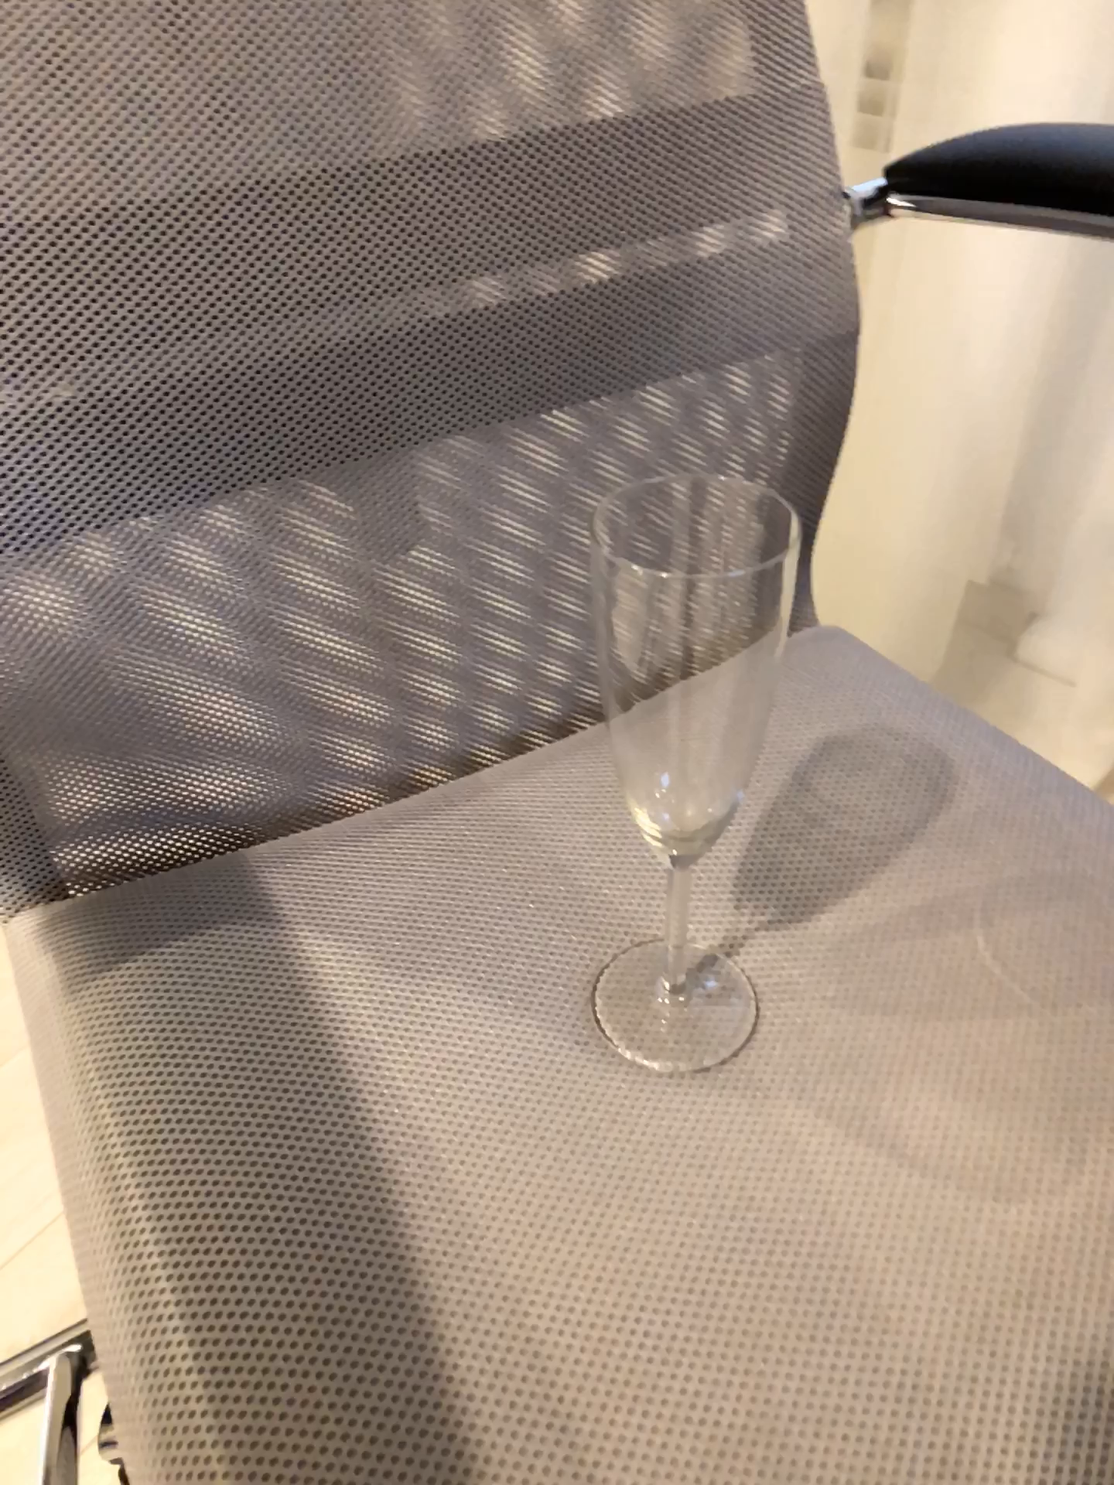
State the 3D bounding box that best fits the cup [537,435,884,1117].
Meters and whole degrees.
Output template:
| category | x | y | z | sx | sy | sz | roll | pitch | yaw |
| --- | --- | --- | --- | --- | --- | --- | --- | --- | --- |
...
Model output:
| category | x | y | z | sx | sy | sz | roll | pitch | yaw |
| --- | --- | --- | --- | --- | --- | --- | --- | --- | --- |
| cup | 0.046 | 0.021 | 0.424 | 0.074 | 0.228 | 0.075 | -2 | 39 | 1 |
